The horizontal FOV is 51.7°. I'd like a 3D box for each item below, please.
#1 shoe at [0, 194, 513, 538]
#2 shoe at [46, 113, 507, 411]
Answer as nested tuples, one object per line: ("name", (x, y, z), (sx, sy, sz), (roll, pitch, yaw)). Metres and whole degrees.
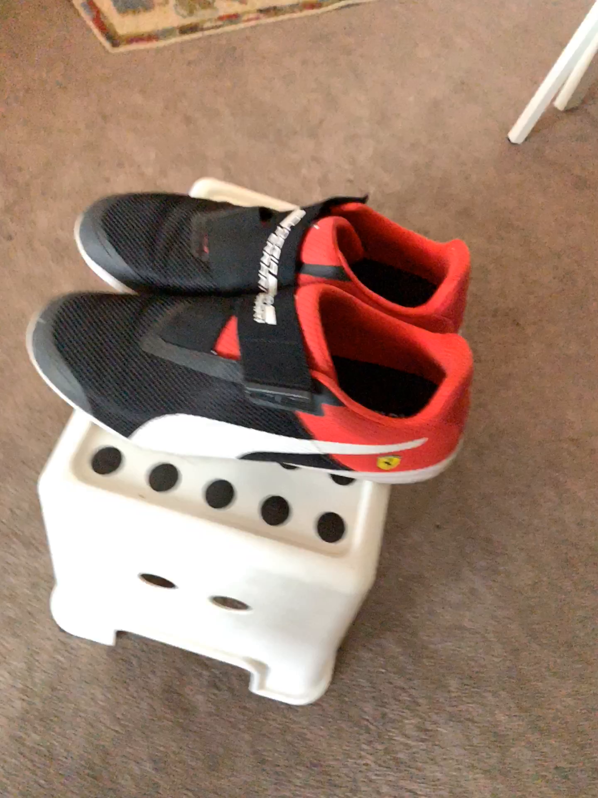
("shoe", (-0.029, -0.017, 0.402), (0.300, 0.099, 0.111), (16, 58, -2))
("shoe", (-0.012, -0.097, 0.461), (0.300, 0.099, 0.101), (16, 58, -2))
